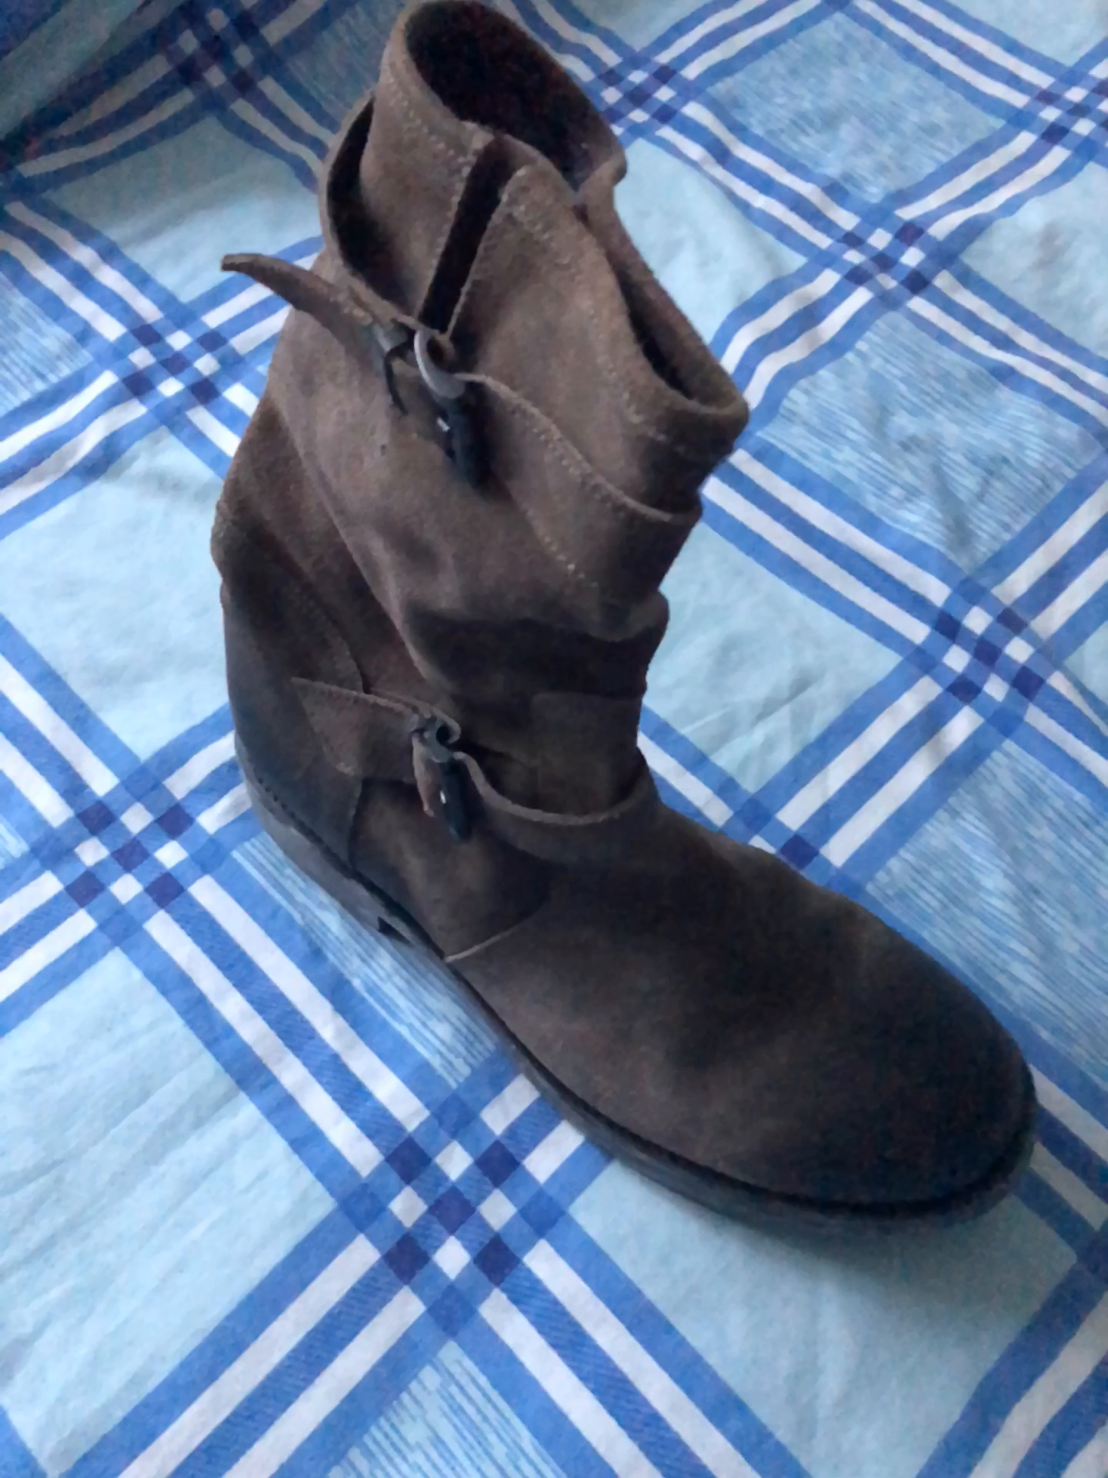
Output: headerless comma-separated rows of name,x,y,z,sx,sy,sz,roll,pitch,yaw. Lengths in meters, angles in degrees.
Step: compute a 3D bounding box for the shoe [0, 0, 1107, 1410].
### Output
shoe,0.032,0.012,0.346,0.320,0.289,0.130,34,63,17
